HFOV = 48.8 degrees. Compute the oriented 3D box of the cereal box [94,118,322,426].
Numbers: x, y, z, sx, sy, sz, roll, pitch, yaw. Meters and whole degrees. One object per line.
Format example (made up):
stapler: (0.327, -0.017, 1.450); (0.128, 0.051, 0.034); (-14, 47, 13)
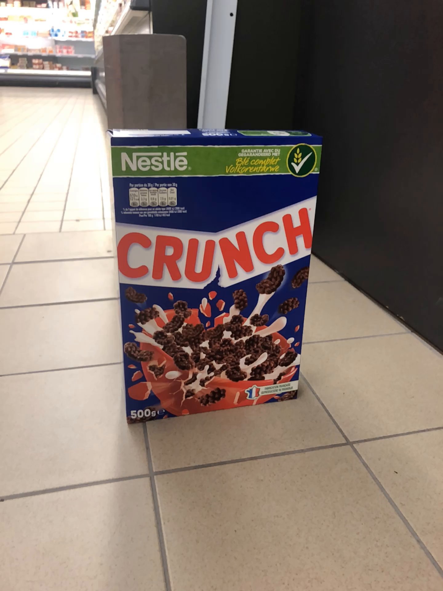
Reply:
cereal box: (-0.016, -0.022, 0.490); (0.190, 0.288, 0.070); (-5, 25, -14)
